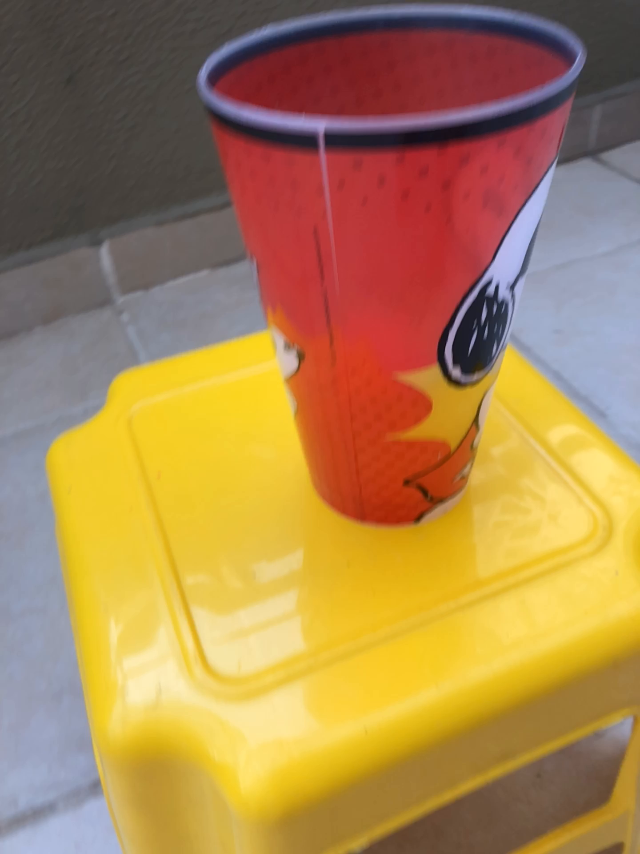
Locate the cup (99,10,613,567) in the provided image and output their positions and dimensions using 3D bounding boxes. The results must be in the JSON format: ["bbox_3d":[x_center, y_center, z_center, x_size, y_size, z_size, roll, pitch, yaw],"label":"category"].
[{"bbox_3d":[0.018,-0.043,0.235,0.110,0.139,0.101,-3,42,3],"label":"cup"}]
